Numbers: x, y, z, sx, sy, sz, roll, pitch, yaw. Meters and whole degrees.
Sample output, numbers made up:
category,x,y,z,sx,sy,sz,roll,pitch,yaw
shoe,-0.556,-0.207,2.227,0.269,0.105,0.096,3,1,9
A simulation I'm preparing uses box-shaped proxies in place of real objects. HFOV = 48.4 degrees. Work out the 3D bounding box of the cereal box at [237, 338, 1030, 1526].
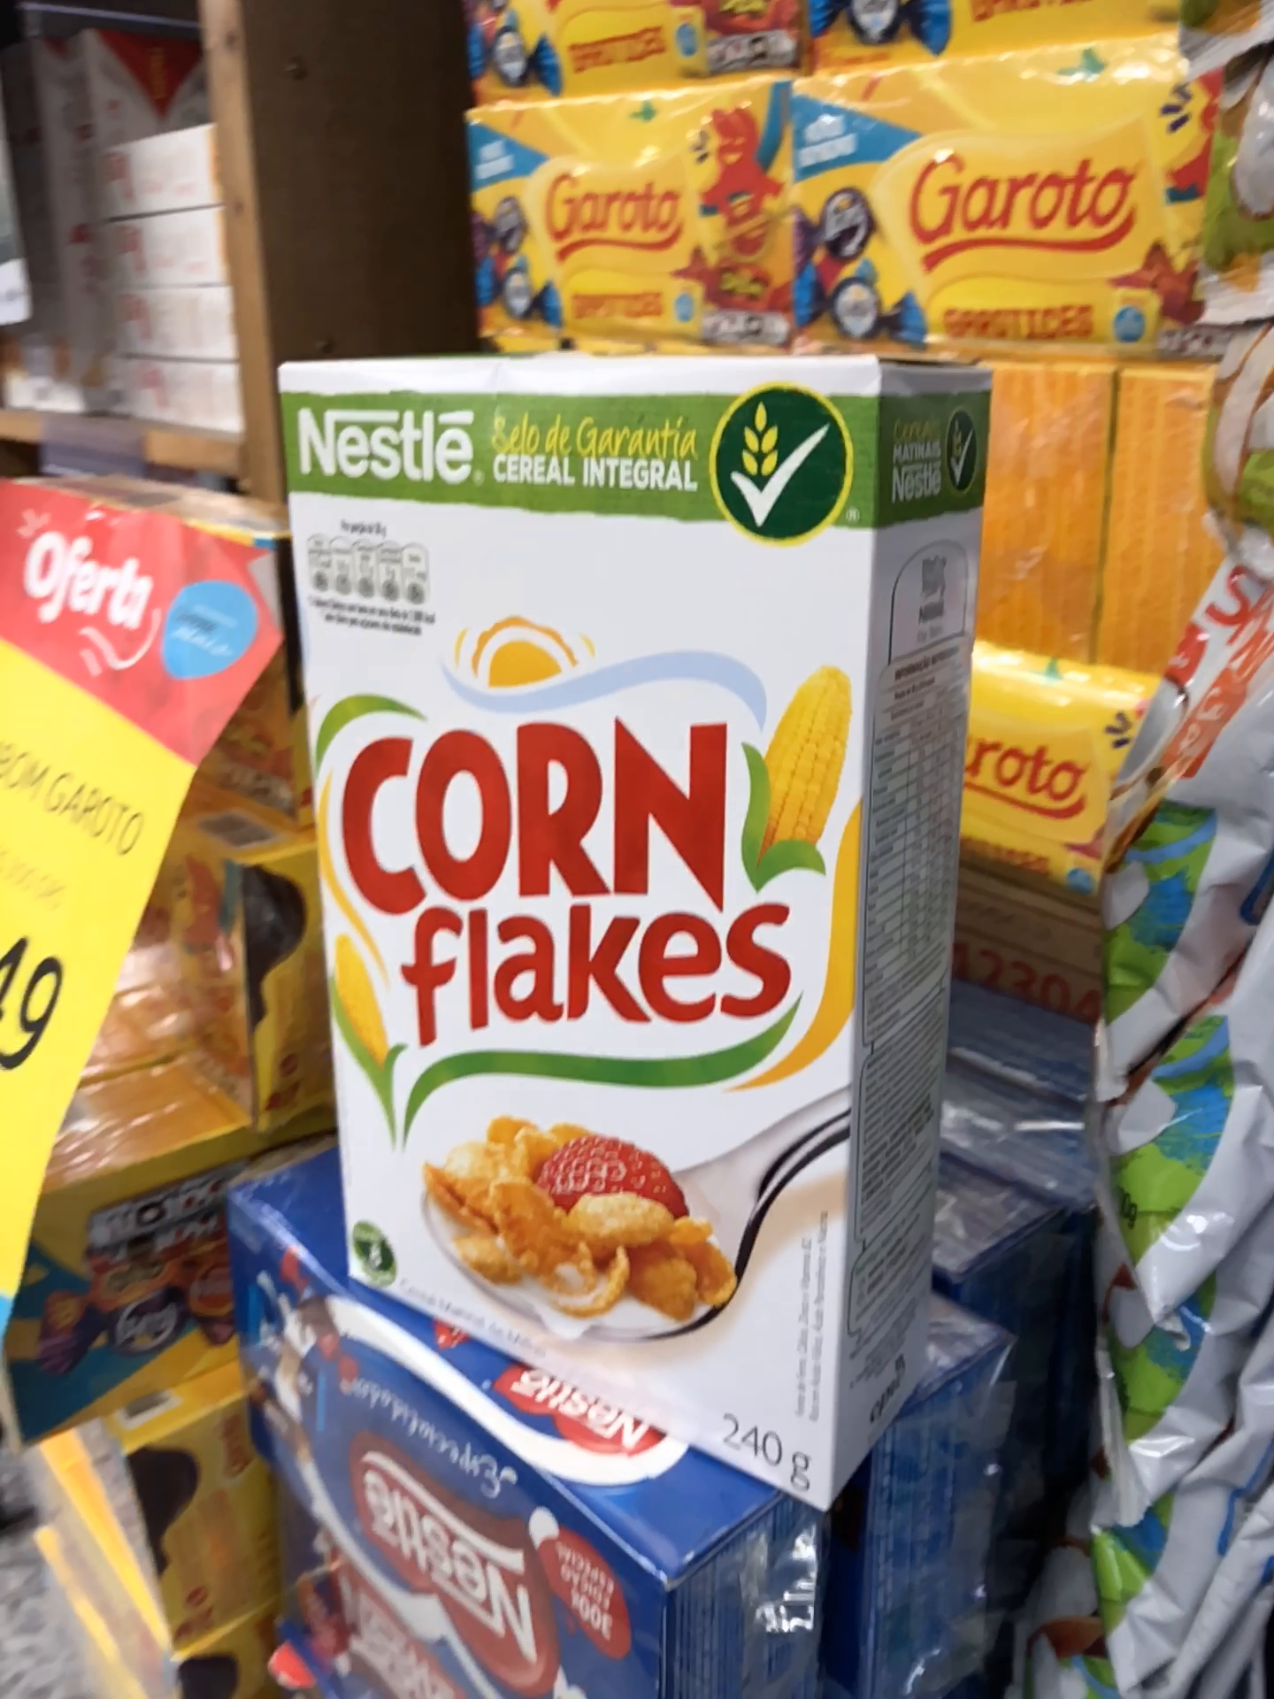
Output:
category,x,y,z,sx,sy,sz,roll,pitch,yaw
cereal box,-0.010,0.008,0.348,0.170,0.249,0.060,13,21,33
